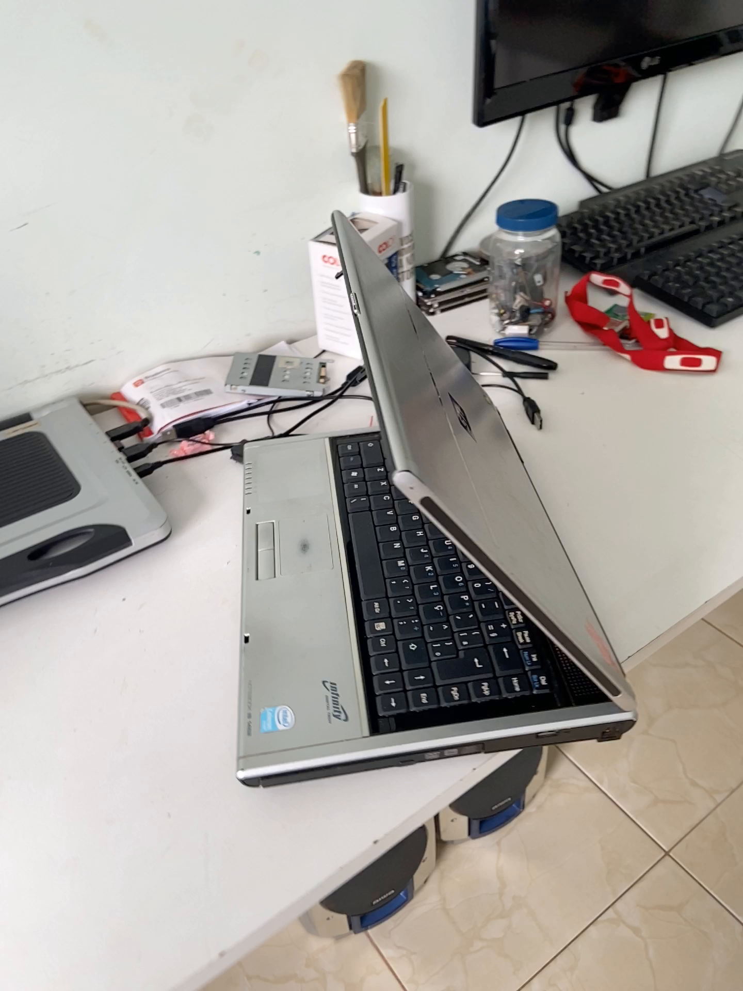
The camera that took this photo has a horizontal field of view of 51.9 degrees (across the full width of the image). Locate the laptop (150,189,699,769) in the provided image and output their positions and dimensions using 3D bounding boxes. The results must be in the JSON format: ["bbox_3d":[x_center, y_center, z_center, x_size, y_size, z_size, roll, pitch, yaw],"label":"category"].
[{"bbox_3d":[0.012,-0.041,0.520,0.236,0.210,0.339,-7,39,-4],"label":"laptop"}]
